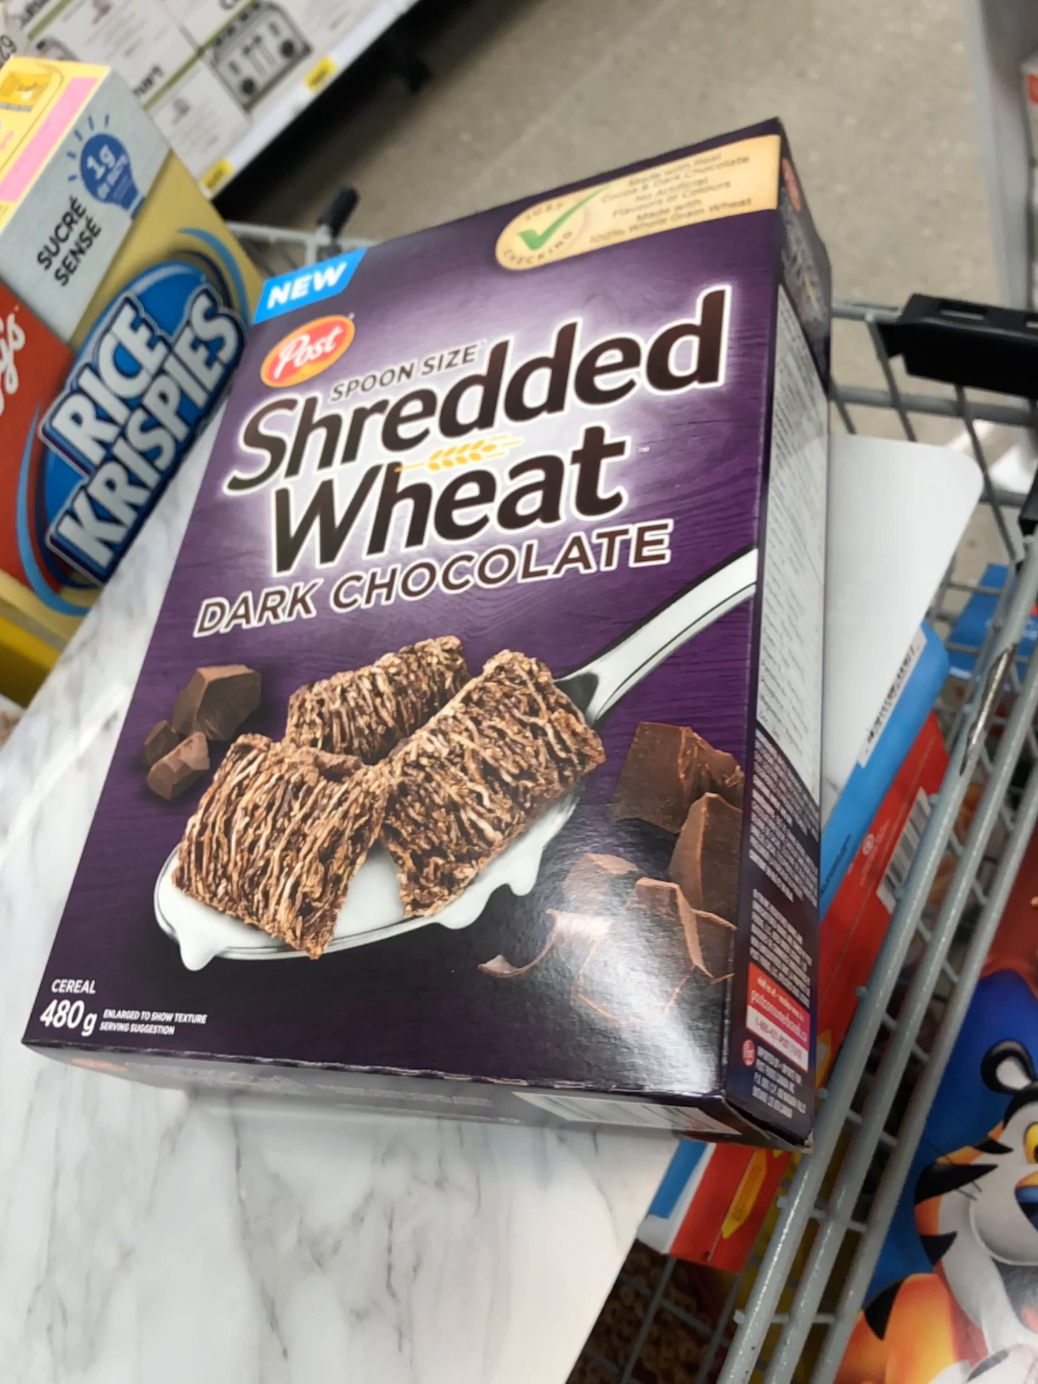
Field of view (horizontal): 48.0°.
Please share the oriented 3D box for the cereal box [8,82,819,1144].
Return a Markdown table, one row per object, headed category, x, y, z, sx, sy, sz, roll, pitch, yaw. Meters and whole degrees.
| category | x | y | z | sx | sy | sz | roll | pitch | yaw |
| --- | --- | --- | --- | --- | --- | --- | --- | --- | --- |
| cereal box | -0.016 | -0.030 | 0.355 | 0.190 | 0.070 | 0.290 | -5 | 62 | 26 |
